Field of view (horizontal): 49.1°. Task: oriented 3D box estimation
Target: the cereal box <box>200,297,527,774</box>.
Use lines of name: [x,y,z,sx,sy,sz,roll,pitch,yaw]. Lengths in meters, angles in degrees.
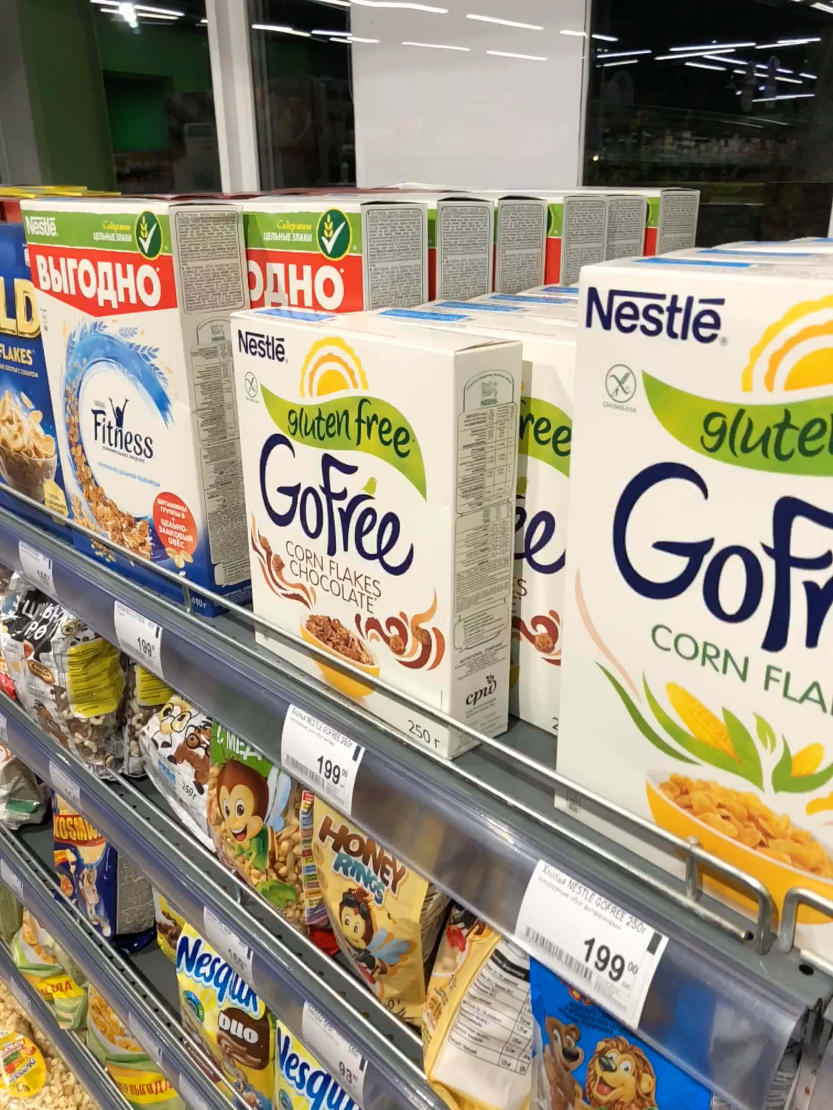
cereal box: [-0.037,-0.024,0.520,0.060,0.219,0.201,-17,27,-39]
